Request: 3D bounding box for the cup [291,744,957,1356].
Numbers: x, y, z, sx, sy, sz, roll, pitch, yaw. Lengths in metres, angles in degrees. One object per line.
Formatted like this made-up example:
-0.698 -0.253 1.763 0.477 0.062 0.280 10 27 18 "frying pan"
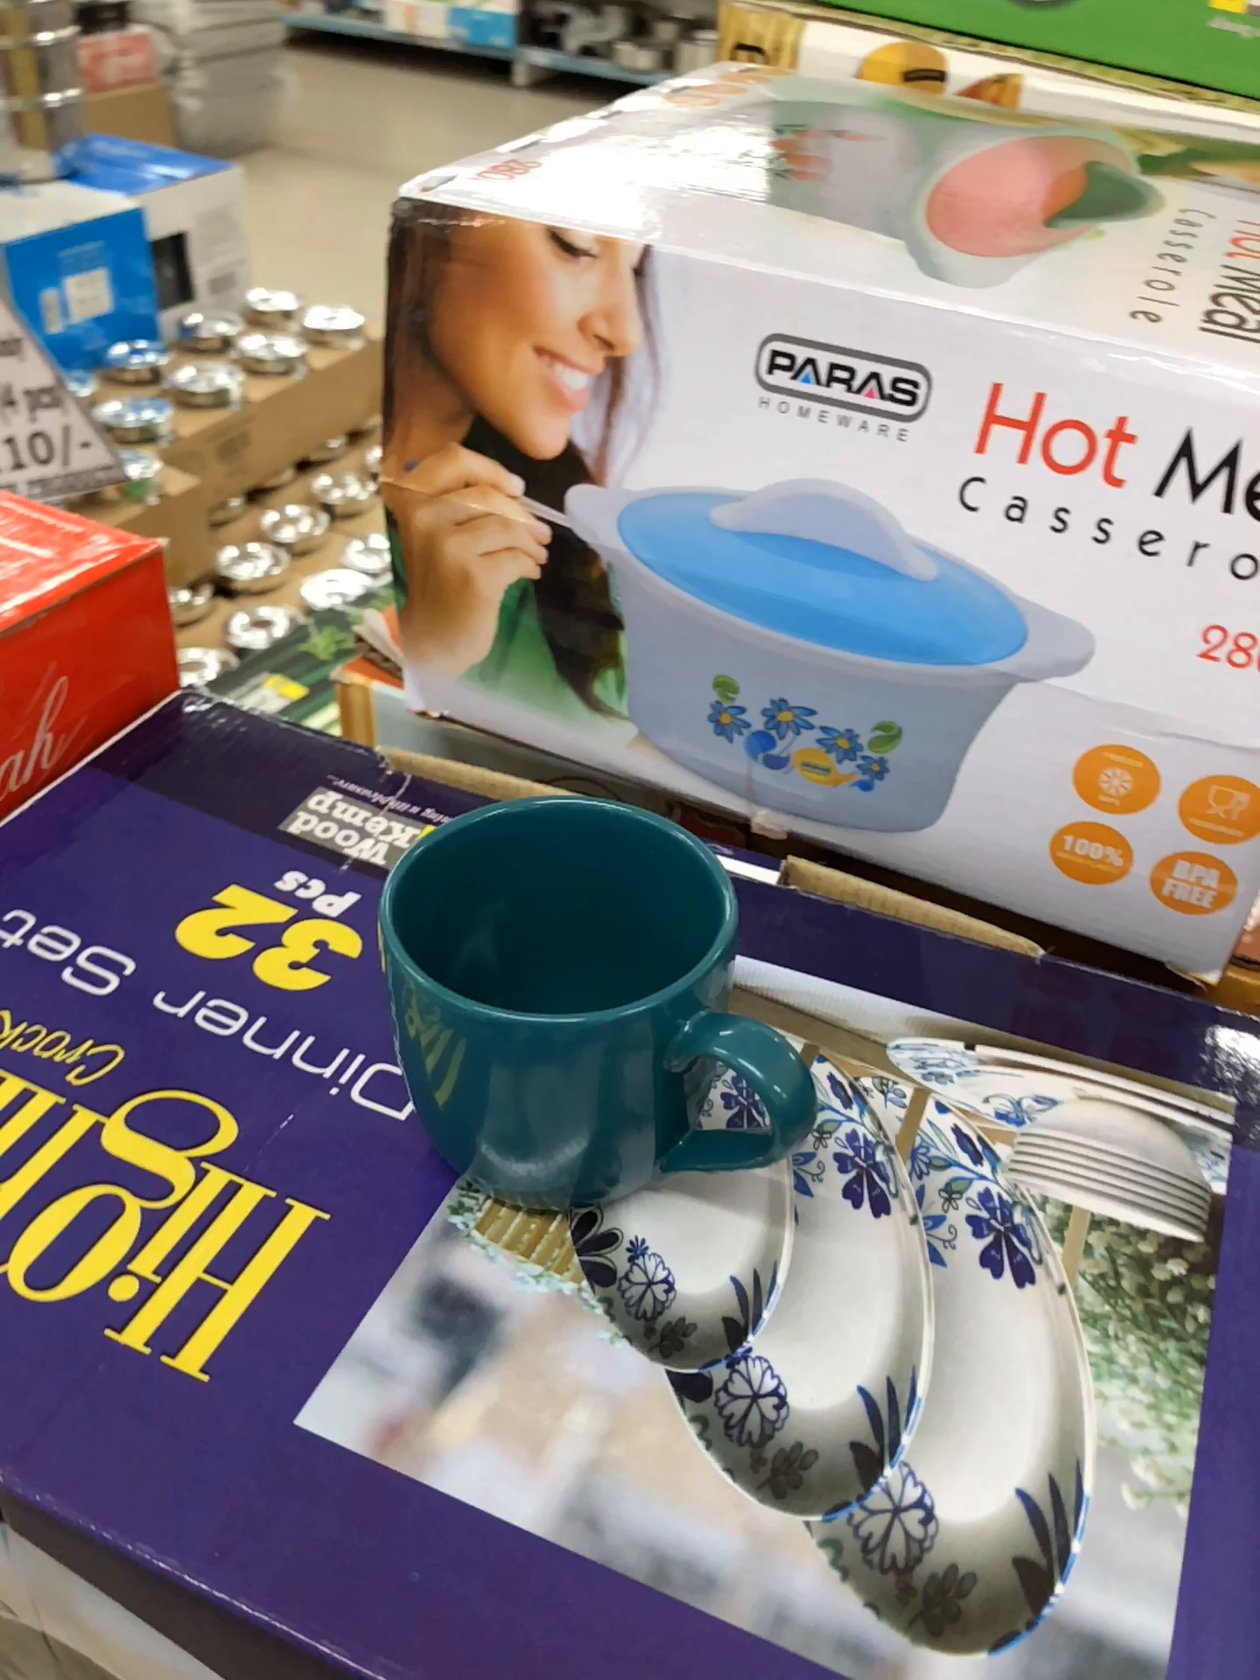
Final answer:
0.000 0.031 0.239 0.090 0.050 0.060 18 40 17 "cup"
